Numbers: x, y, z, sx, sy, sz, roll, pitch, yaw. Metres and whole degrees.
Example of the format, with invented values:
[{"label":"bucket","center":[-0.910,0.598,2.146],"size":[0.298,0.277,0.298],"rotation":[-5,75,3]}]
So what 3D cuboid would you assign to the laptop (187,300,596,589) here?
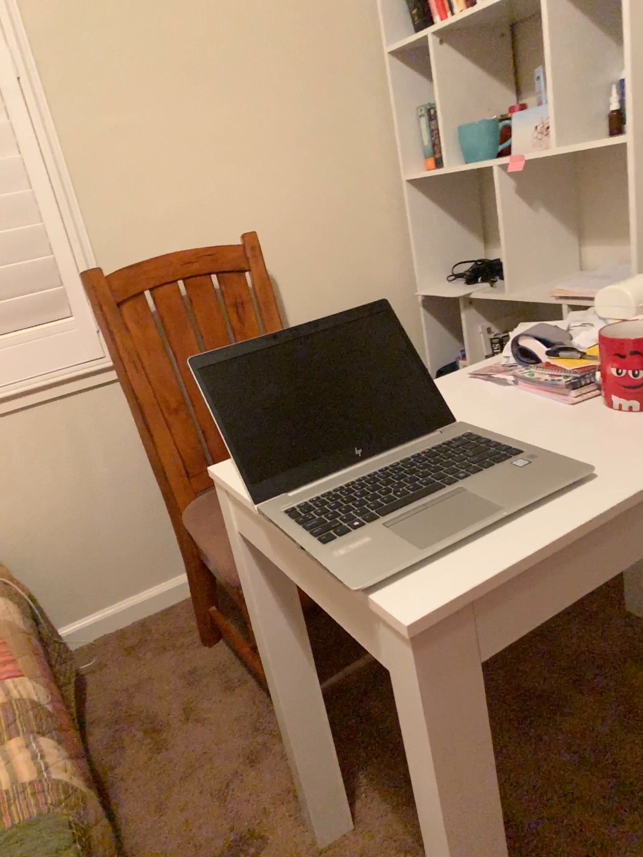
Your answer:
[{"label":"laptop","center":[0.061,-0.024,0.772],"size":[0.310,0.159,0.366],"rotation":[-20,22,-24]}]
